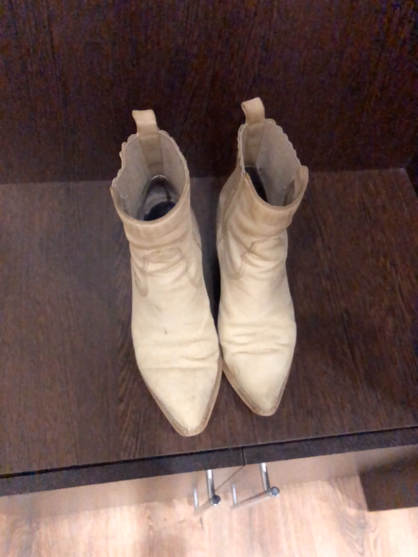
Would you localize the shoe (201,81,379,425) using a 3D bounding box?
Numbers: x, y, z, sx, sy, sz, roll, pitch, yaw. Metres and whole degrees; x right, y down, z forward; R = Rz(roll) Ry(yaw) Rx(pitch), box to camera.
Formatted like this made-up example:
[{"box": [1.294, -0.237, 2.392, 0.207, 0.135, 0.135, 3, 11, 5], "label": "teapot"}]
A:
[{"box": [0.052, -0.022, 0.448, 0.100, 0.170, 0.280, 0, 61, -5], "label": "shoe"}]

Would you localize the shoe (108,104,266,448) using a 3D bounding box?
[{"box": [-0.032, -0.001, 0.441, 0.100, 0.170, 0.270, -4, 61, -6], "label": "shoe"}]
